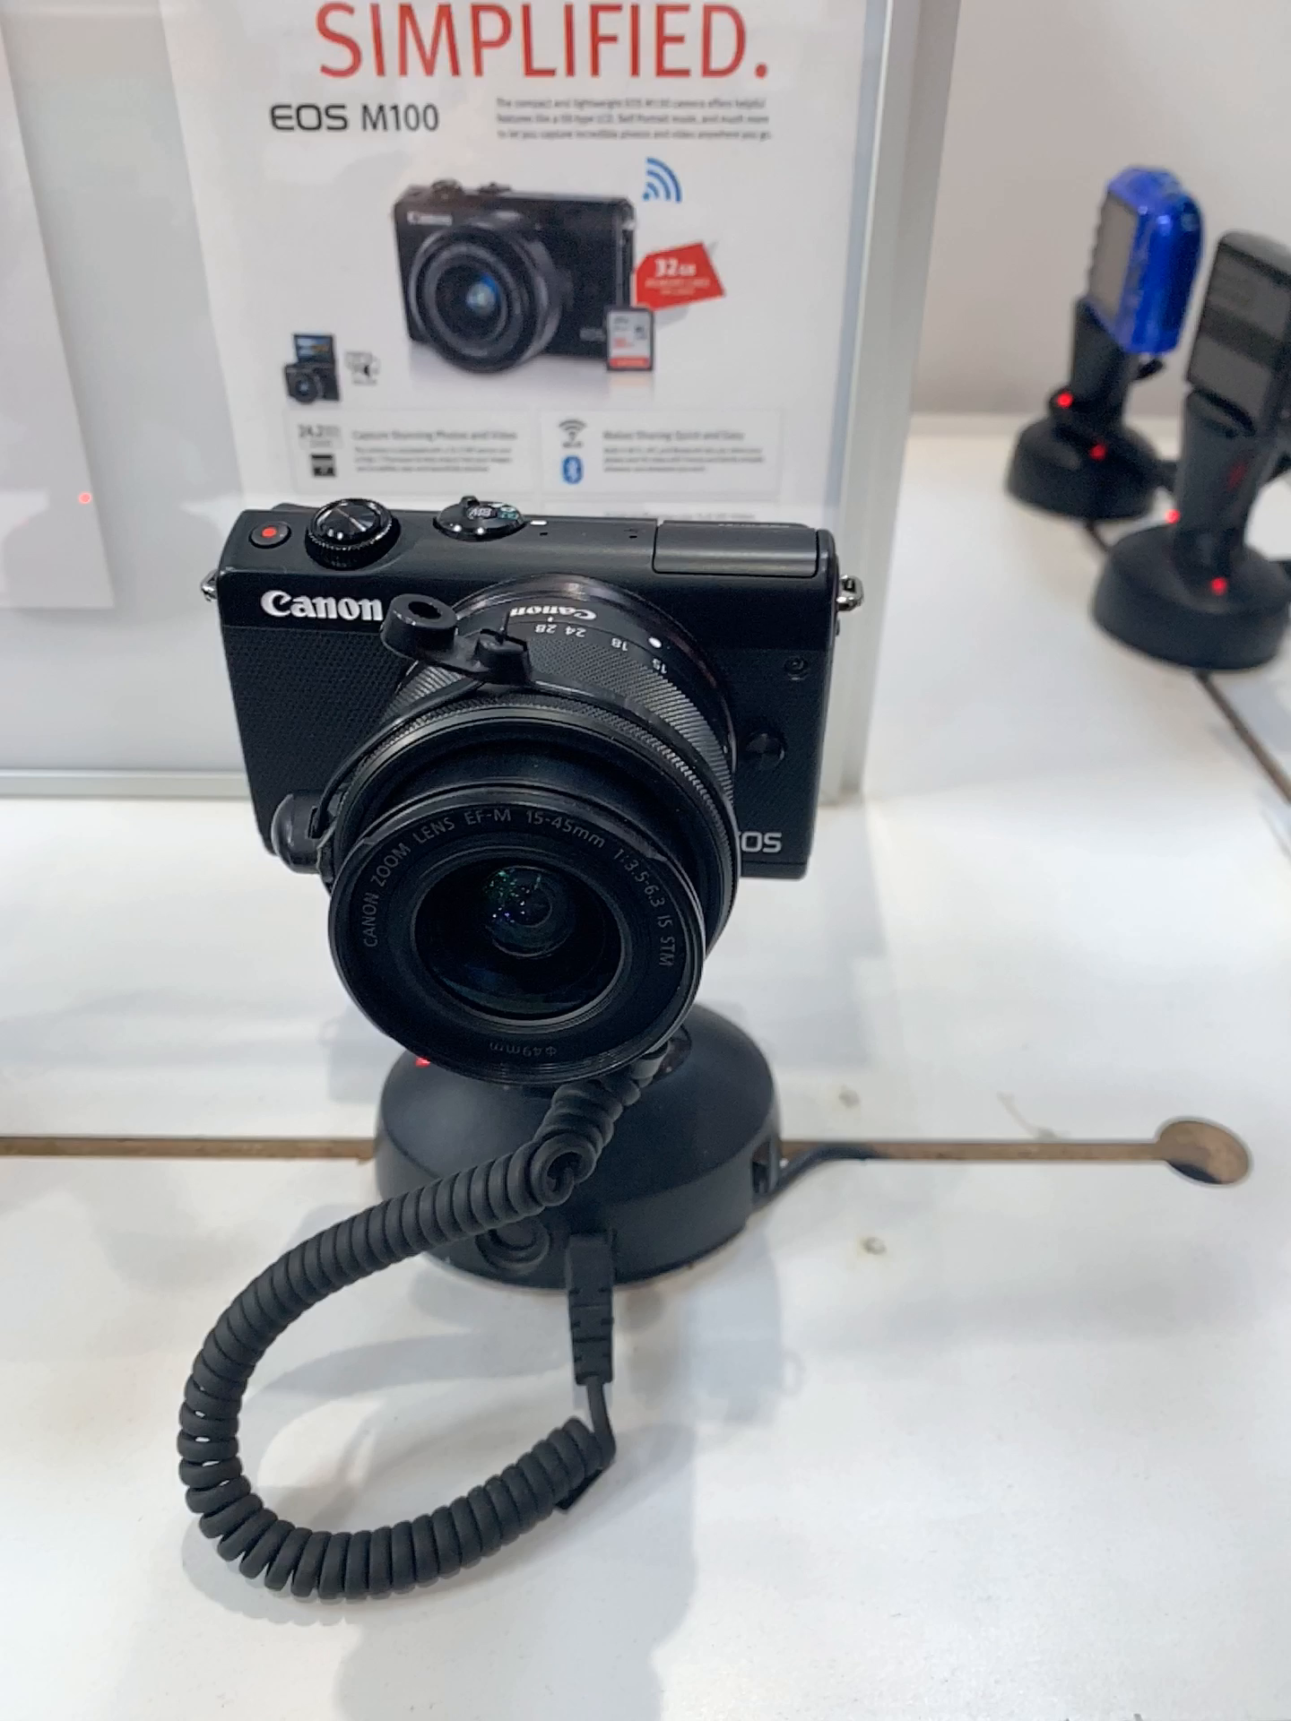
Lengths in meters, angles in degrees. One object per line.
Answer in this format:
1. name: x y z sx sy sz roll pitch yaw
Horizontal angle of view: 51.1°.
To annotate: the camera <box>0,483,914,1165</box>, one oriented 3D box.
1. camera: -0.021 -0.013 0.214 0.110 0.066 0.093 3 30 3
